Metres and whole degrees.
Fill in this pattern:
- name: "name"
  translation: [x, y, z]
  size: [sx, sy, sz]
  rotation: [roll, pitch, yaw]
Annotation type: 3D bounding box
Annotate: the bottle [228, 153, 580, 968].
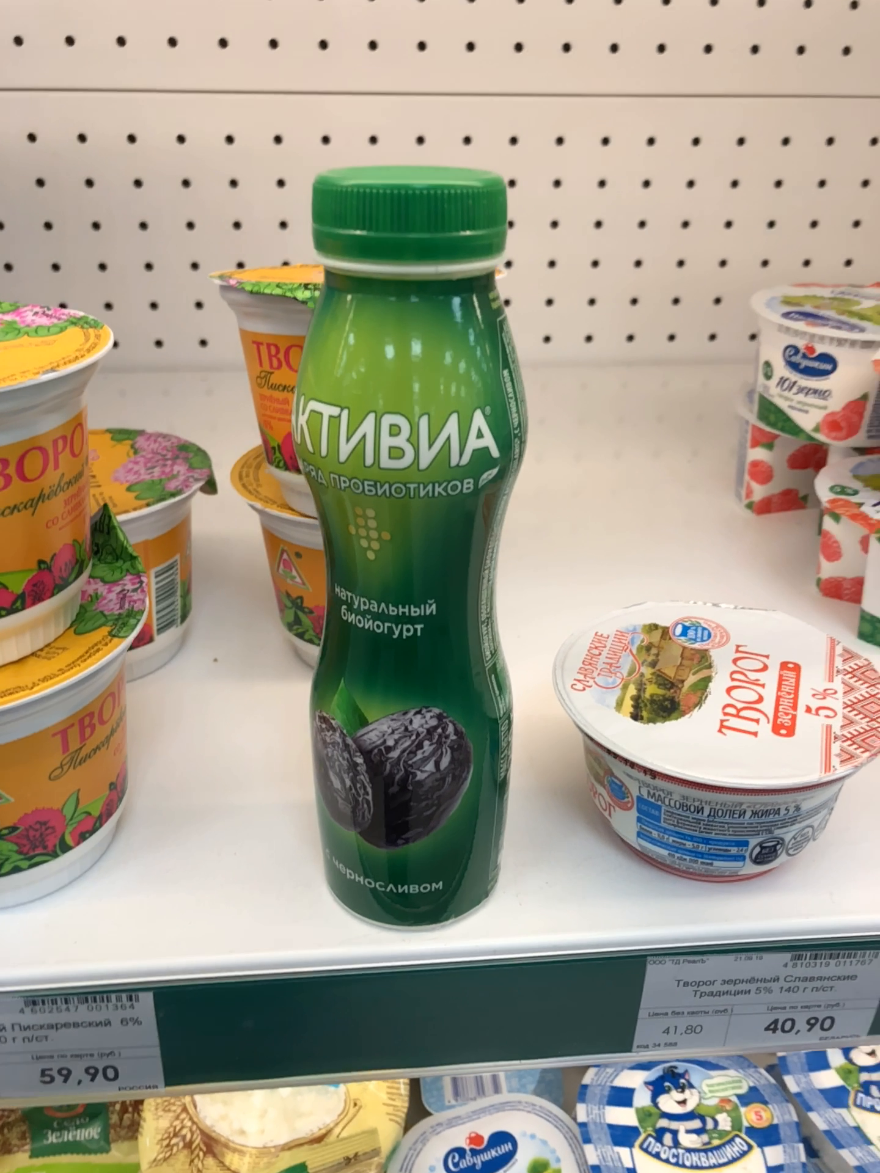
- name: "bottle"
  translation: [-0.006, -0.001, 0.236]
  size: [0.050, 0.185, 0.054]
  rotation: [0, 28, 0]
